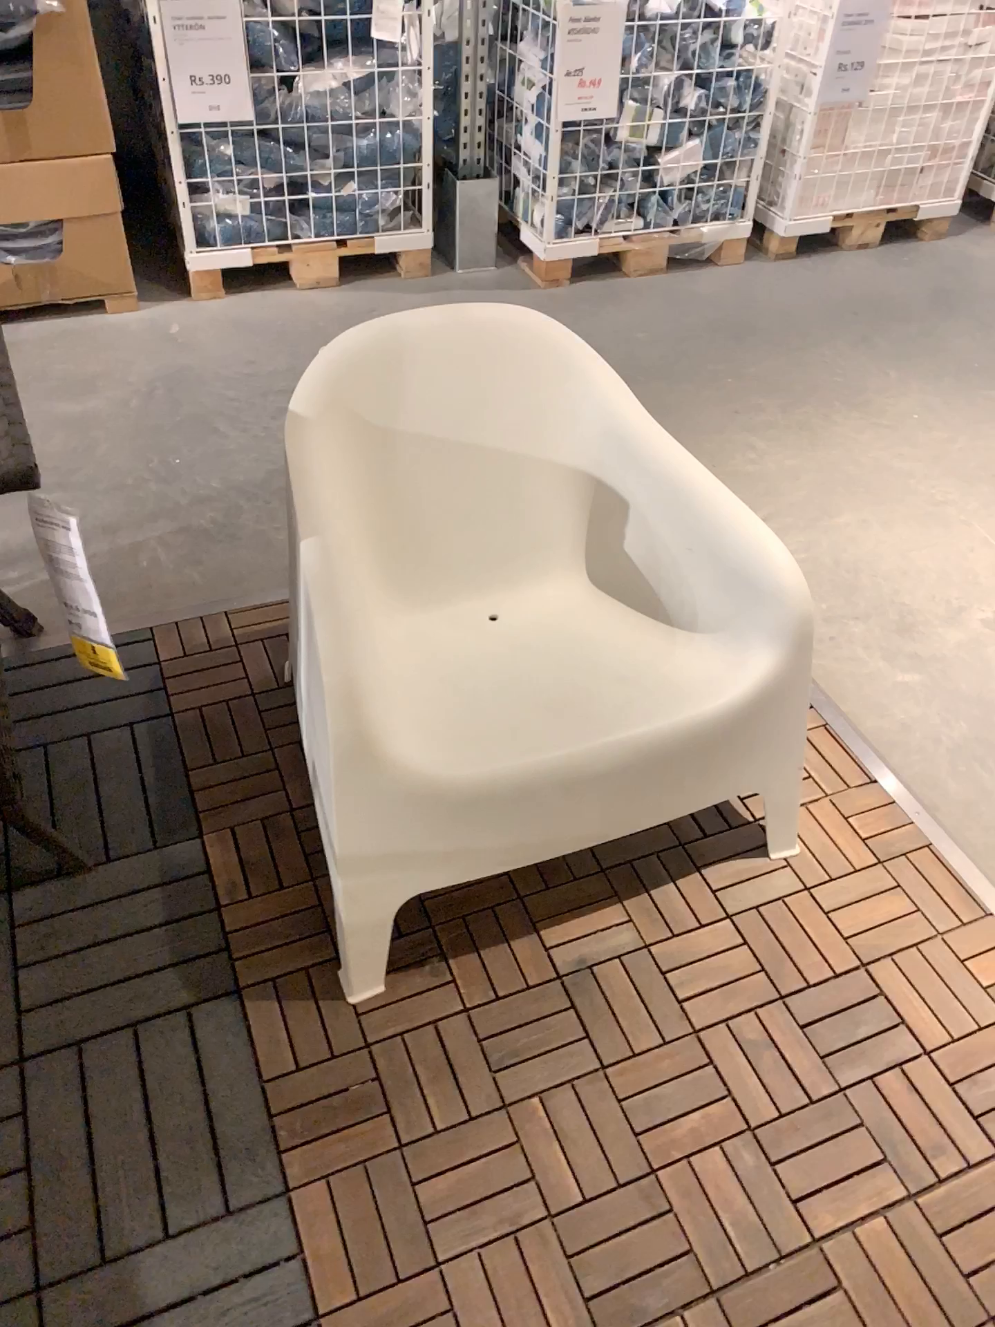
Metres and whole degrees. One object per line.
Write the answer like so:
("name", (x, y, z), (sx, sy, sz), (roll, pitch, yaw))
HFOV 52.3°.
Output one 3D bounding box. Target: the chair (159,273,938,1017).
("chair", (-0.003, -0.086, 1.528), (0.771, 0.637, 0.763), (-13, 45, -17))
